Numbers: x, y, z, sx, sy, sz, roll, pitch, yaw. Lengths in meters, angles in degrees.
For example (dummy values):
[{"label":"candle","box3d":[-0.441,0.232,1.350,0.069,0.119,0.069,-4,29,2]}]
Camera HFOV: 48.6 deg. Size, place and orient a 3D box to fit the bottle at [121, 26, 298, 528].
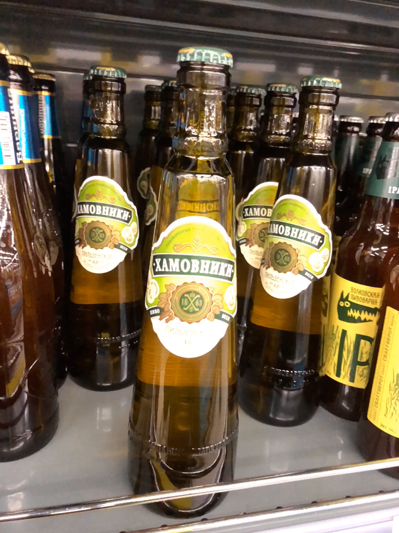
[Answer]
[{"label":"bottle","box3d":[-0.005,0.018,0.252,0.070,0.261,0.070,3,18,-1]}]
